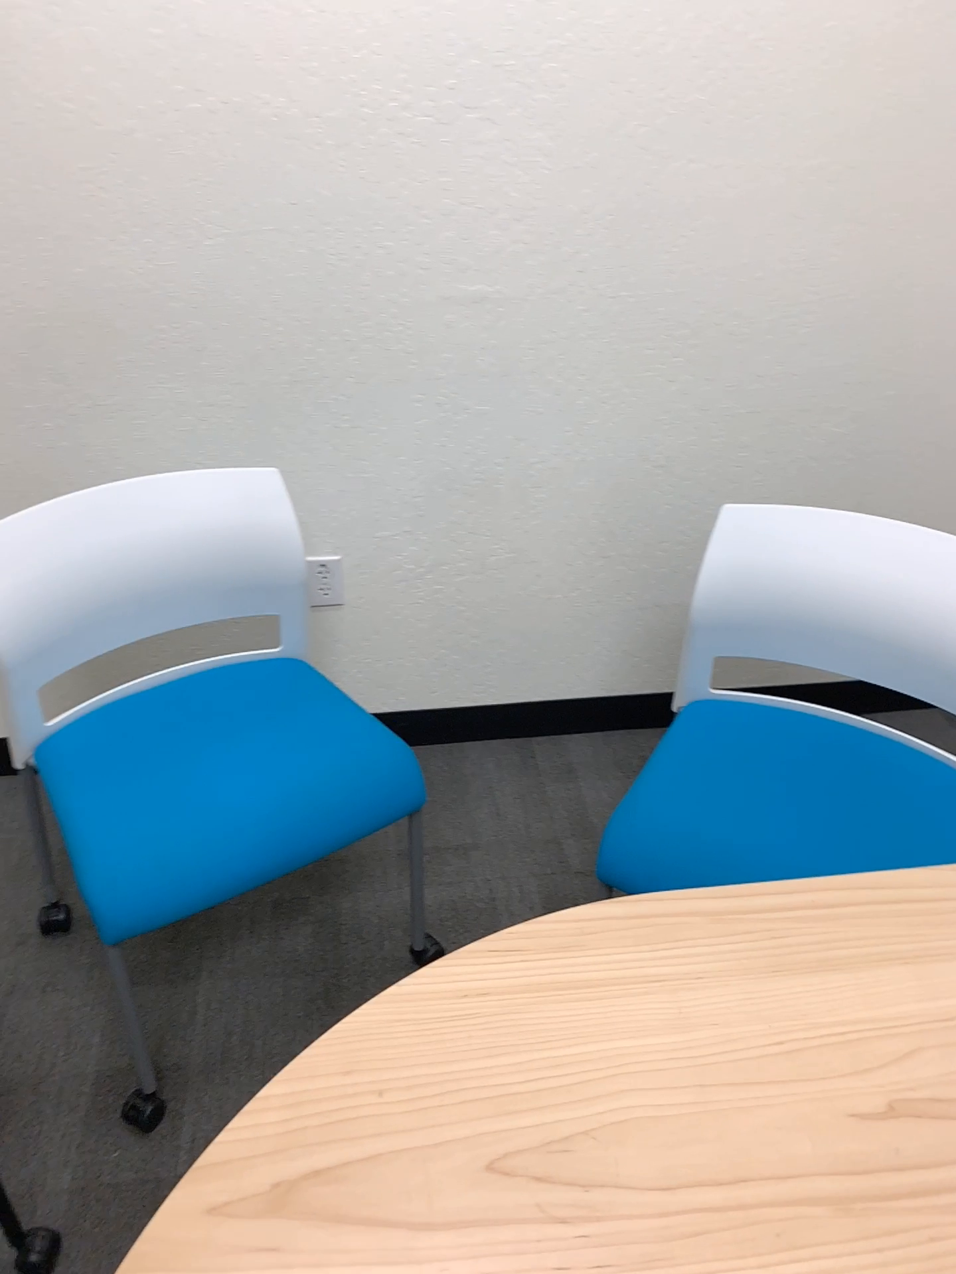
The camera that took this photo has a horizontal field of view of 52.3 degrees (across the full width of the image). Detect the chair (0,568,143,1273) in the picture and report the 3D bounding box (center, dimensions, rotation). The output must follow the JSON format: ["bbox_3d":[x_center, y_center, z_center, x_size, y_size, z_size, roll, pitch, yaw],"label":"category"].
[{"bbox_3d":[-0.896,0.464,1.106,0.641,0.716,0.693,-25,40,-34],"label":"chair"}]

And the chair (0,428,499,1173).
[{"bbox_3d":[-0.433,0.190,1.572,0.641,0.756,0.693,-19,37,-28],"label":"chair"}]

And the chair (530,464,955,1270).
[{"bbox_3d":[0.574,0.276,1.513,0.751,0.766,0.693,14,35,21],"label":"chair"}]
